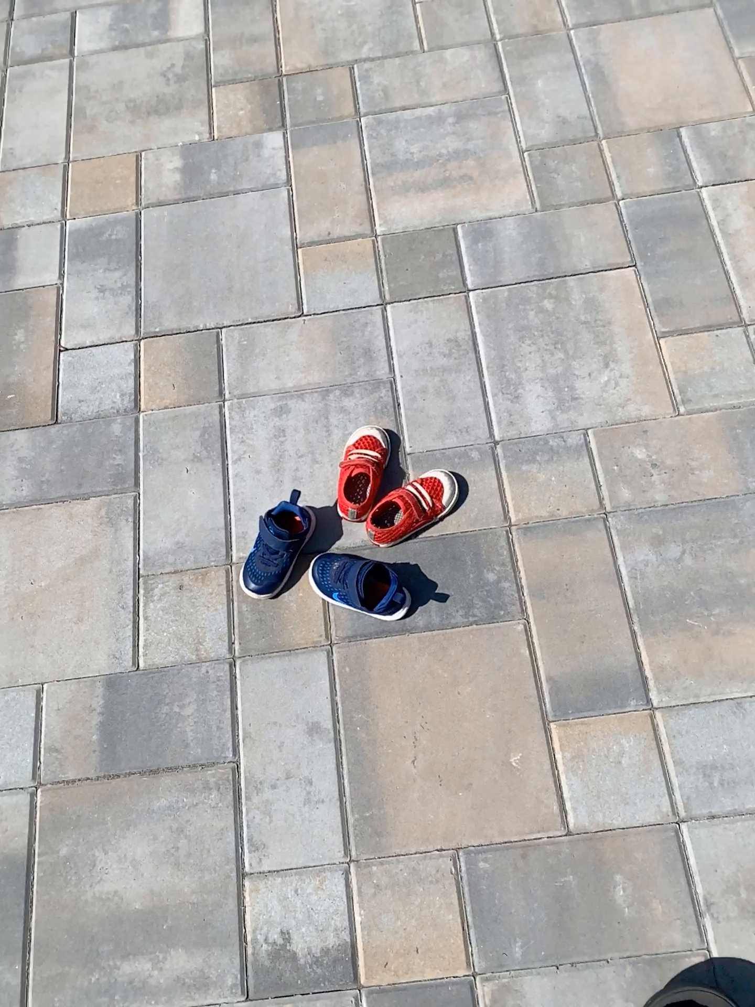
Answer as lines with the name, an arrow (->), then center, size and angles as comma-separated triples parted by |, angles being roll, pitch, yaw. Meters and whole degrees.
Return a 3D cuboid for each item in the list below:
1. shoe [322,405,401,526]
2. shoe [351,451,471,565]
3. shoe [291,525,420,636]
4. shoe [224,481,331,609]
shoe -> -0.022, -0.058, 1.190 | 0.080, 0.070, 0.160 | 11, 70, 9
shoe -> 0.052, 0.008, 1.173 | 0.160, 0.070, 0.080 | -33, 70, -8
shoe -> -0.029, 0.112, 1.112 | 0.160, 0.080, 0.080 | 25, 73, 14
shoe -> -0.147, 0.063, 1.157 | 0.080, 0.070, 0.160 | 24, 73, 13
